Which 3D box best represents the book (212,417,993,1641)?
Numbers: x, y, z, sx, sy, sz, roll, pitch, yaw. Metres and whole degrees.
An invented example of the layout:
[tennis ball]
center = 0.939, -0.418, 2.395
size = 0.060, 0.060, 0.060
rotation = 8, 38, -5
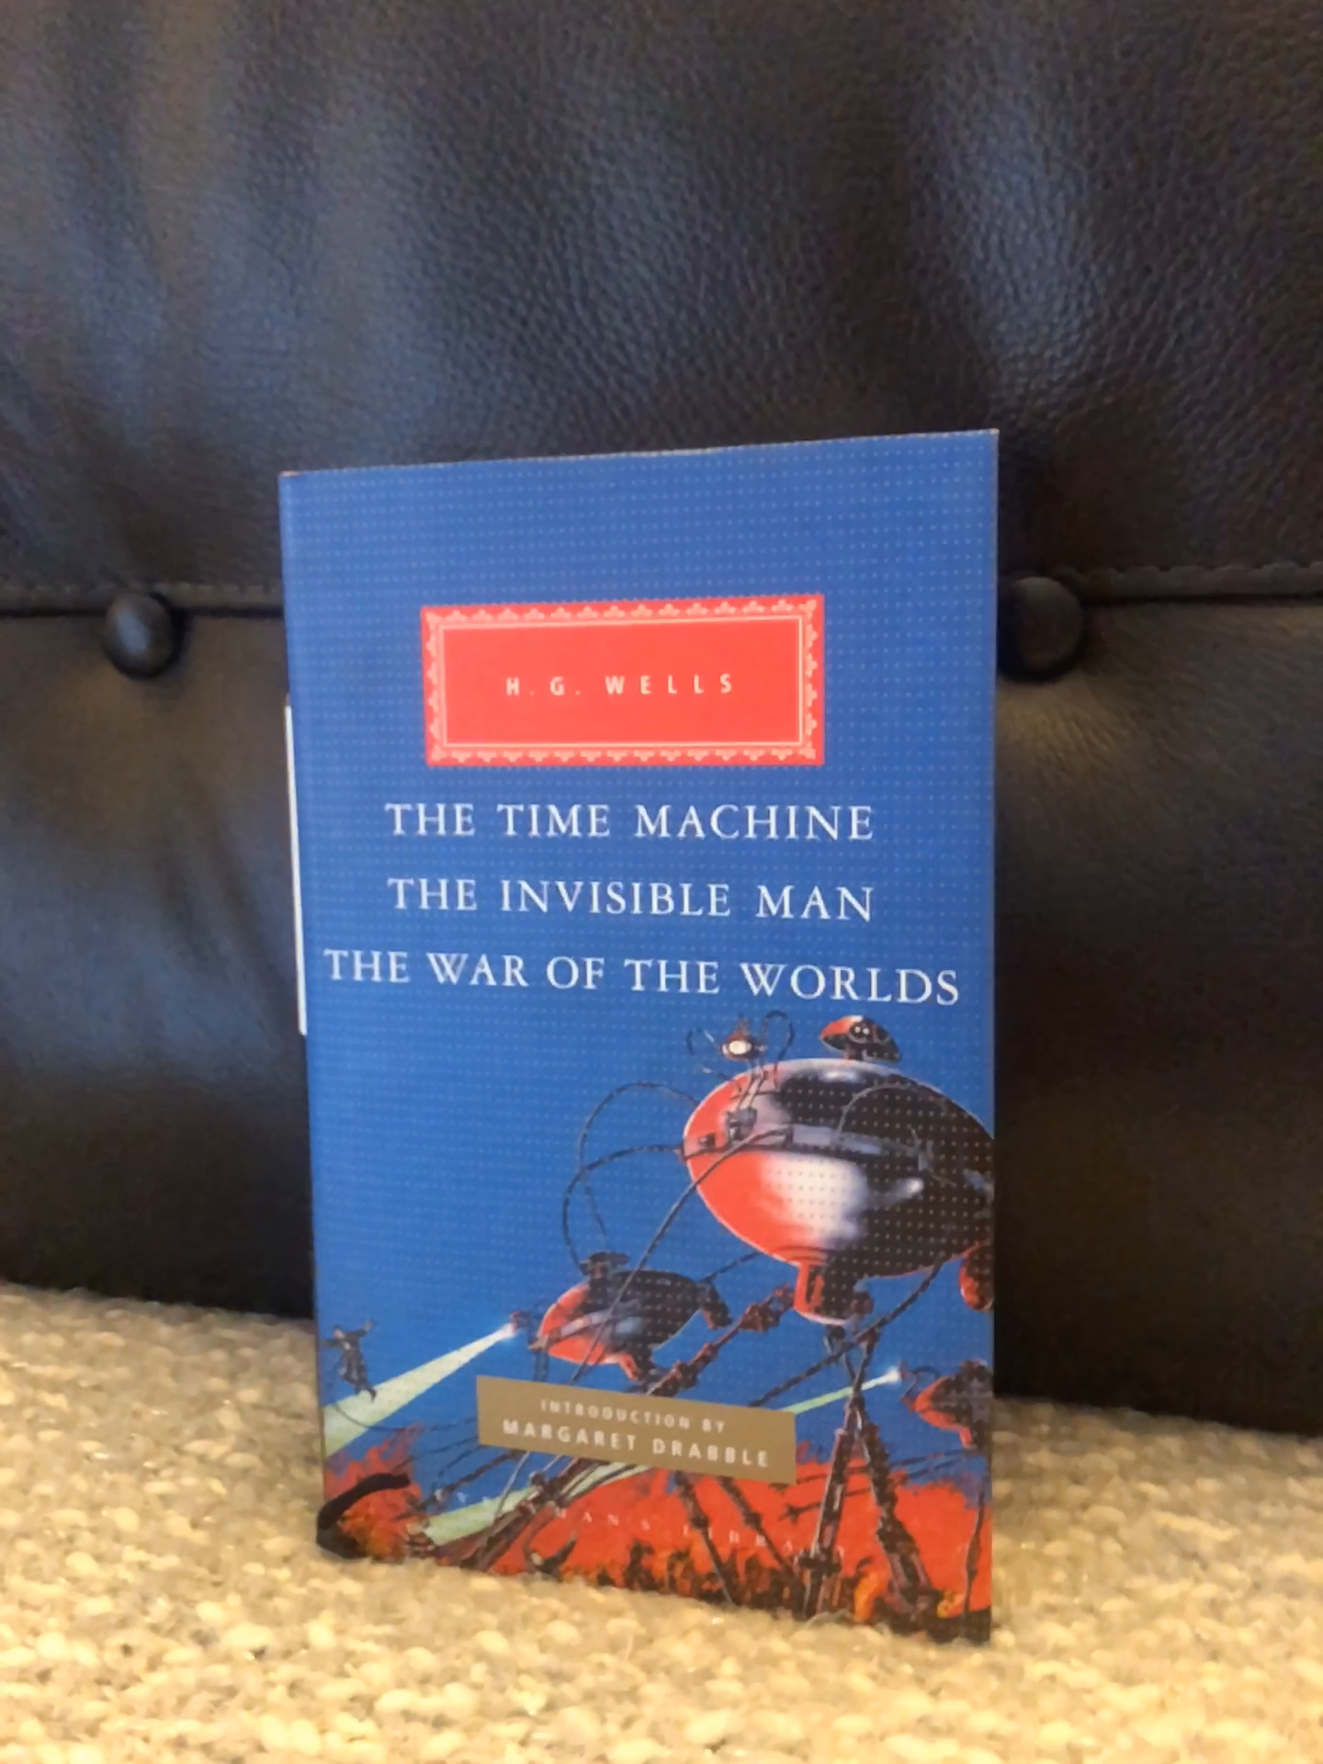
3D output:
[book]
center = -0.009, 0.029, 0.300
size = 0.148, 0.226, 0.034
rotation = 0, 7, 13
